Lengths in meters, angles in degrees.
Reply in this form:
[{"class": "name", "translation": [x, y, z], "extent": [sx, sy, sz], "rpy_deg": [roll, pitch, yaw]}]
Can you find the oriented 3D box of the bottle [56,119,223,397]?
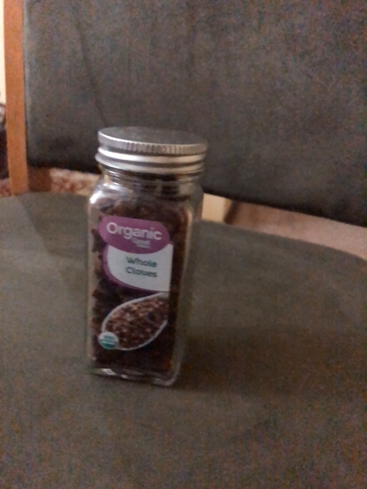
[{"class": "bottle", "translation": [-0.017, 0.003, 0.176], "extent": [0.050, 0.100, 0.050], "rpy_deg": [4, 23, -2]}]
